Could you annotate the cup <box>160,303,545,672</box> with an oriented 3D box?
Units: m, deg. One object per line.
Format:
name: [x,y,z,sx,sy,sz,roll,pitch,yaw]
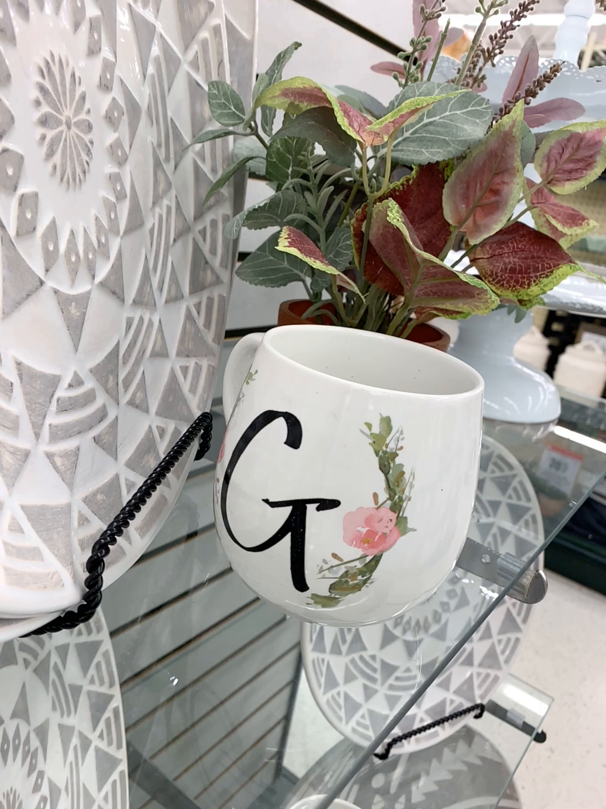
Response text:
cup: [0.013,0.018,0.241,0.089,0.090,0.100,-7,24,-40]
